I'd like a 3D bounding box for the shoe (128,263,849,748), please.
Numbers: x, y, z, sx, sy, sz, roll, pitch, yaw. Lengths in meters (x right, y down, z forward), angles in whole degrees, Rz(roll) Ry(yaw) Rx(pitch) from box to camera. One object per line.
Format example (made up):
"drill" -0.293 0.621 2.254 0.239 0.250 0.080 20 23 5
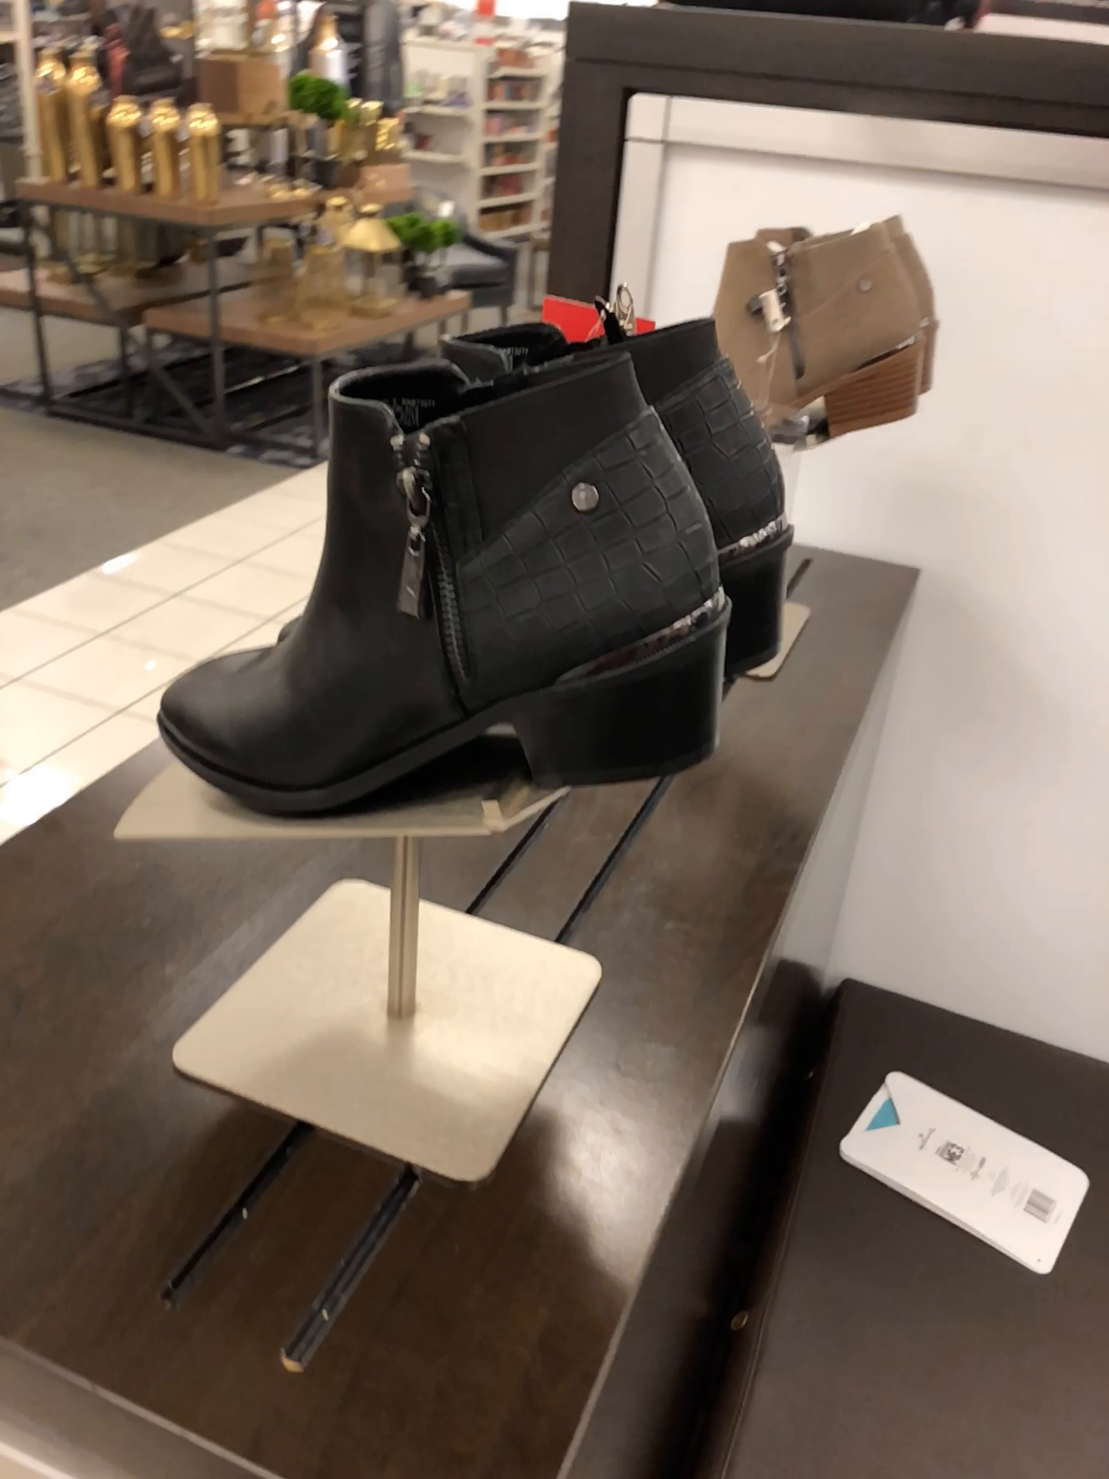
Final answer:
"shoe" -0.027 -0.085 0.491 0.243 0.132 0.105 -4 21 32

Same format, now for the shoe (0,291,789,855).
"shoe" -0.066 -0.046 0.411 0.243 0.132 0.105 -4 21 32
